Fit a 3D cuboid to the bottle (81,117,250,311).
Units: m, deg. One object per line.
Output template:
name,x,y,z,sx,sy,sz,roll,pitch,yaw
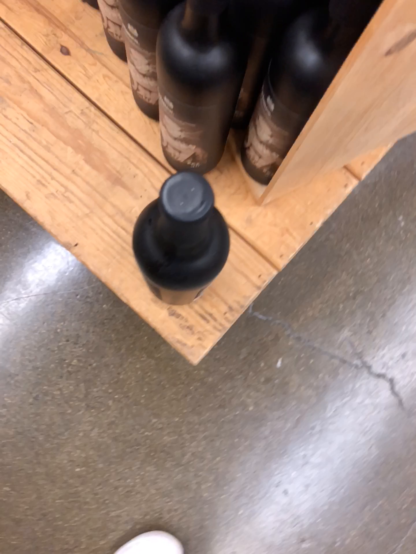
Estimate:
bottle,-0.032,-0.020,0.373,0.080,0.300,0.080,1,83,-5
